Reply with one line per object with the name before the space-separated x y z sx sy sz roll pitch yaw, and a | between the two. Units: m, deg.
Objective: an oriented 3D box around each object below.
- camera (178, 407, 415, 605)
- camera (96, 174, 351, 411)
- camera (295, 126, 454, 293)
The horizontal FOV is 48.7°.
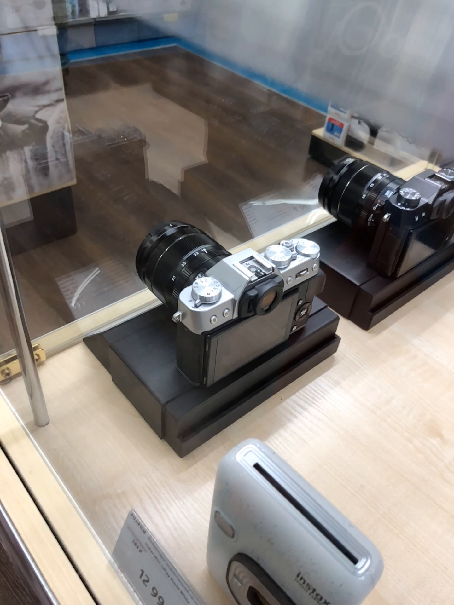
camera | 0.022 0.124 0.243 0.039 0.110 0.094 -29 53 -33
camera | -0.007 -0.017 0.375 0.124 0.080 0.130 -25 51 -30
camera | 0.163 -0.098 0.493 0.124 0.080 0.130 -25 51 -30
